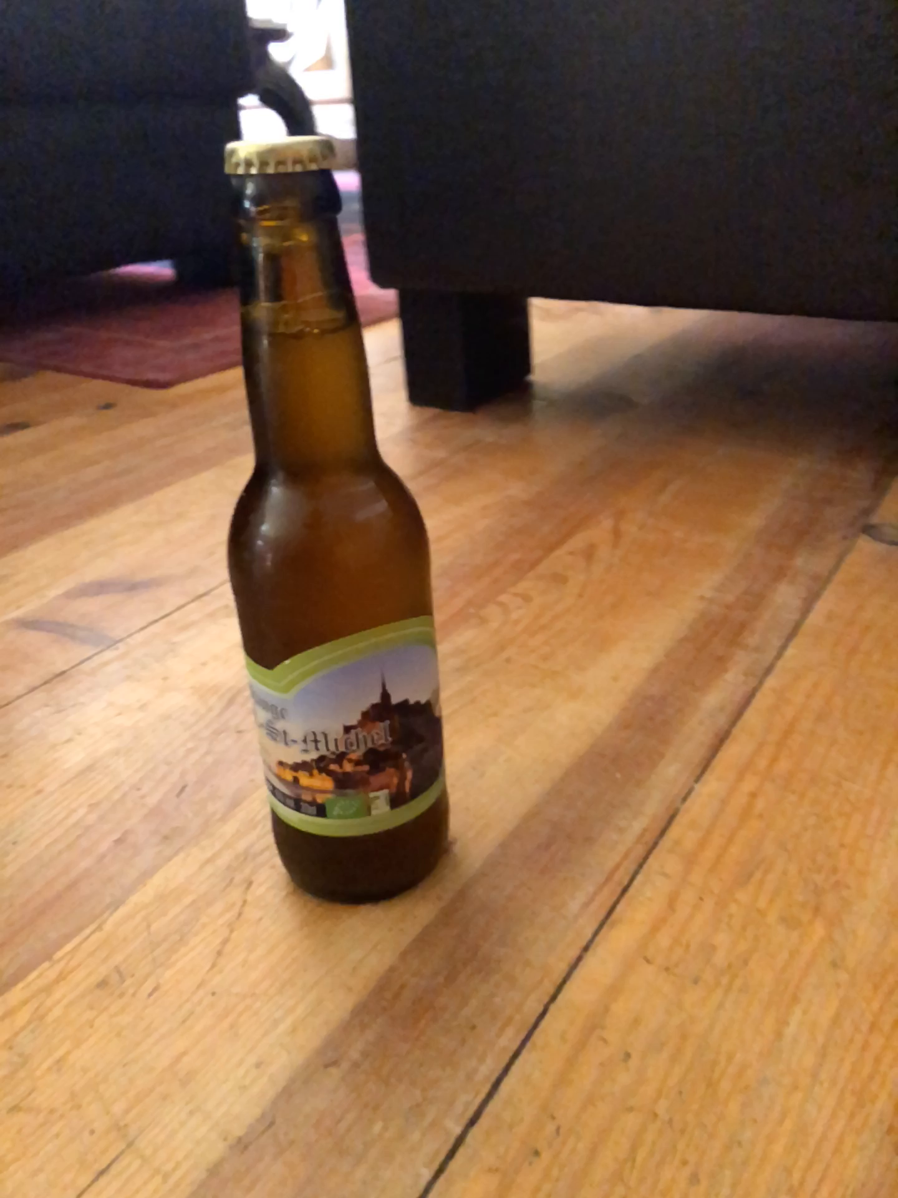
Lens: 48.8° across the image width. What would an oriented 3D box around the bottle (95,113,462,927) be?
[{"bbox_3d":[-0.036,-0.015,0.295,0.070,0.229,0.070,-2,27,1],"label":"bottle"}]
